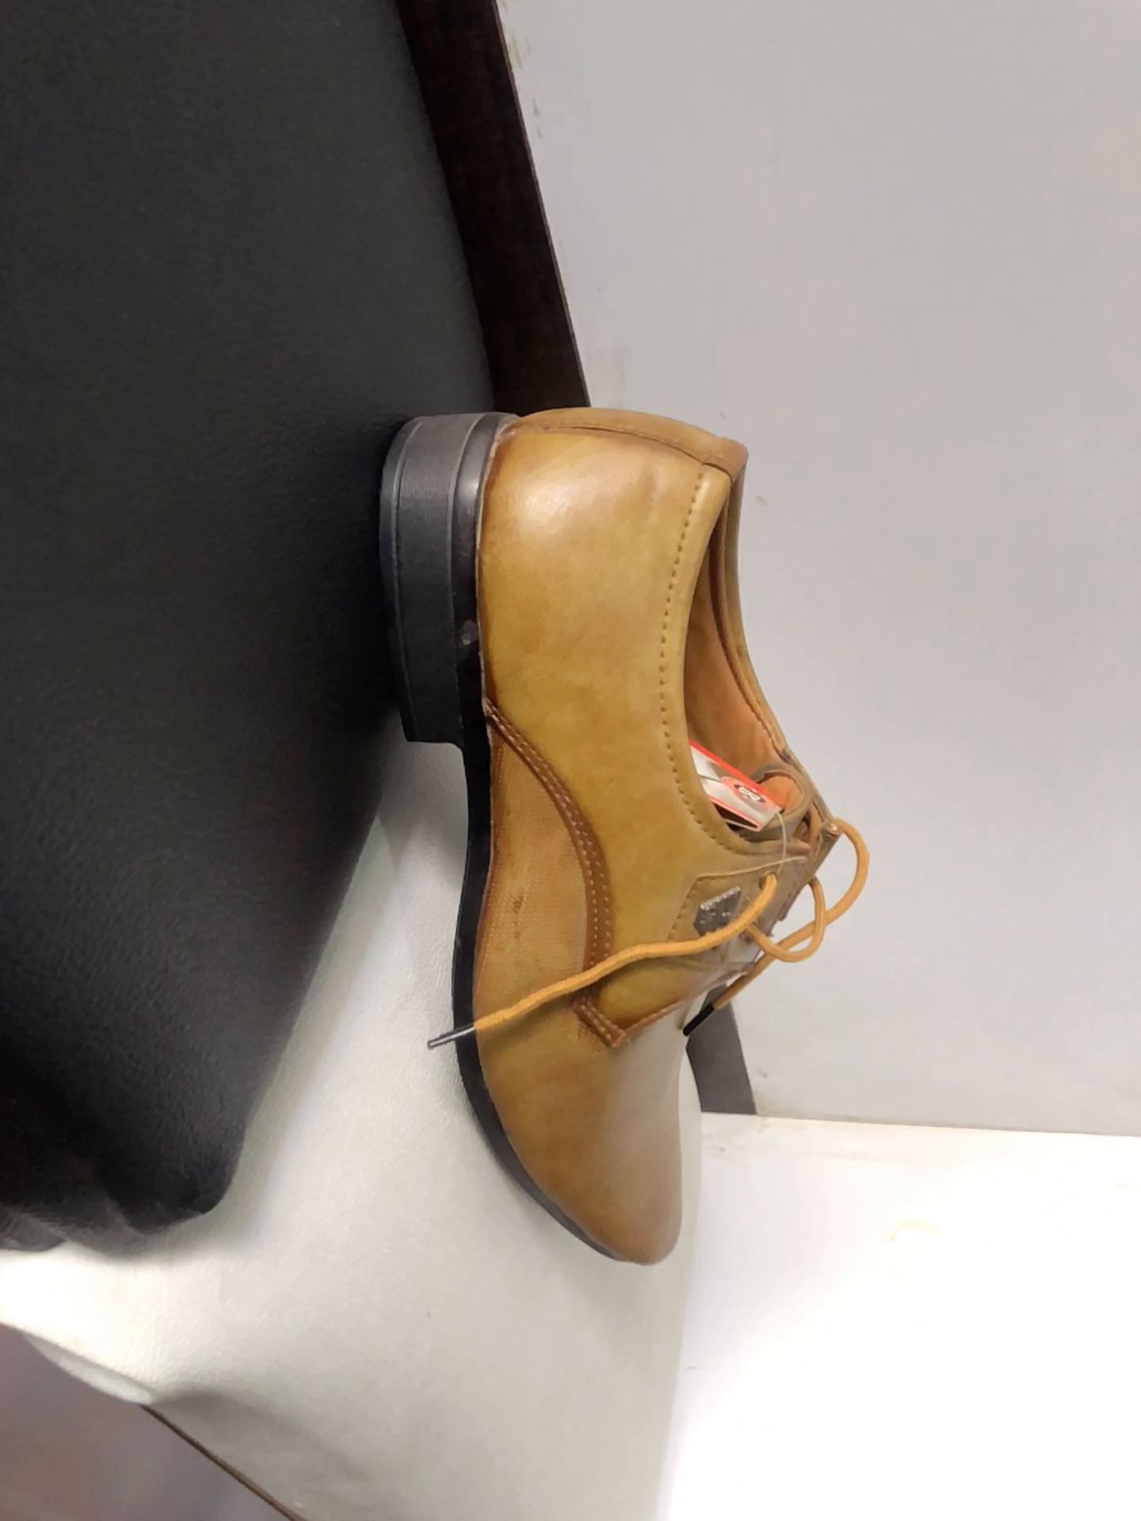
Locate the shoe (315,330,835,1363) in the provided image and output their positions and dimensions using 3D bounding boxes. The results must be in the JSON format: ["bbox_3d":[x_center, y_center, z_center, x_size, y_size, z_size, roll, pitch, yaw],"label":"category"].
[{"bbox_3d":[0.022,0.036,0.376,0.100,0.090,0.291,-65,149,-57],"label":"shoe"}]
